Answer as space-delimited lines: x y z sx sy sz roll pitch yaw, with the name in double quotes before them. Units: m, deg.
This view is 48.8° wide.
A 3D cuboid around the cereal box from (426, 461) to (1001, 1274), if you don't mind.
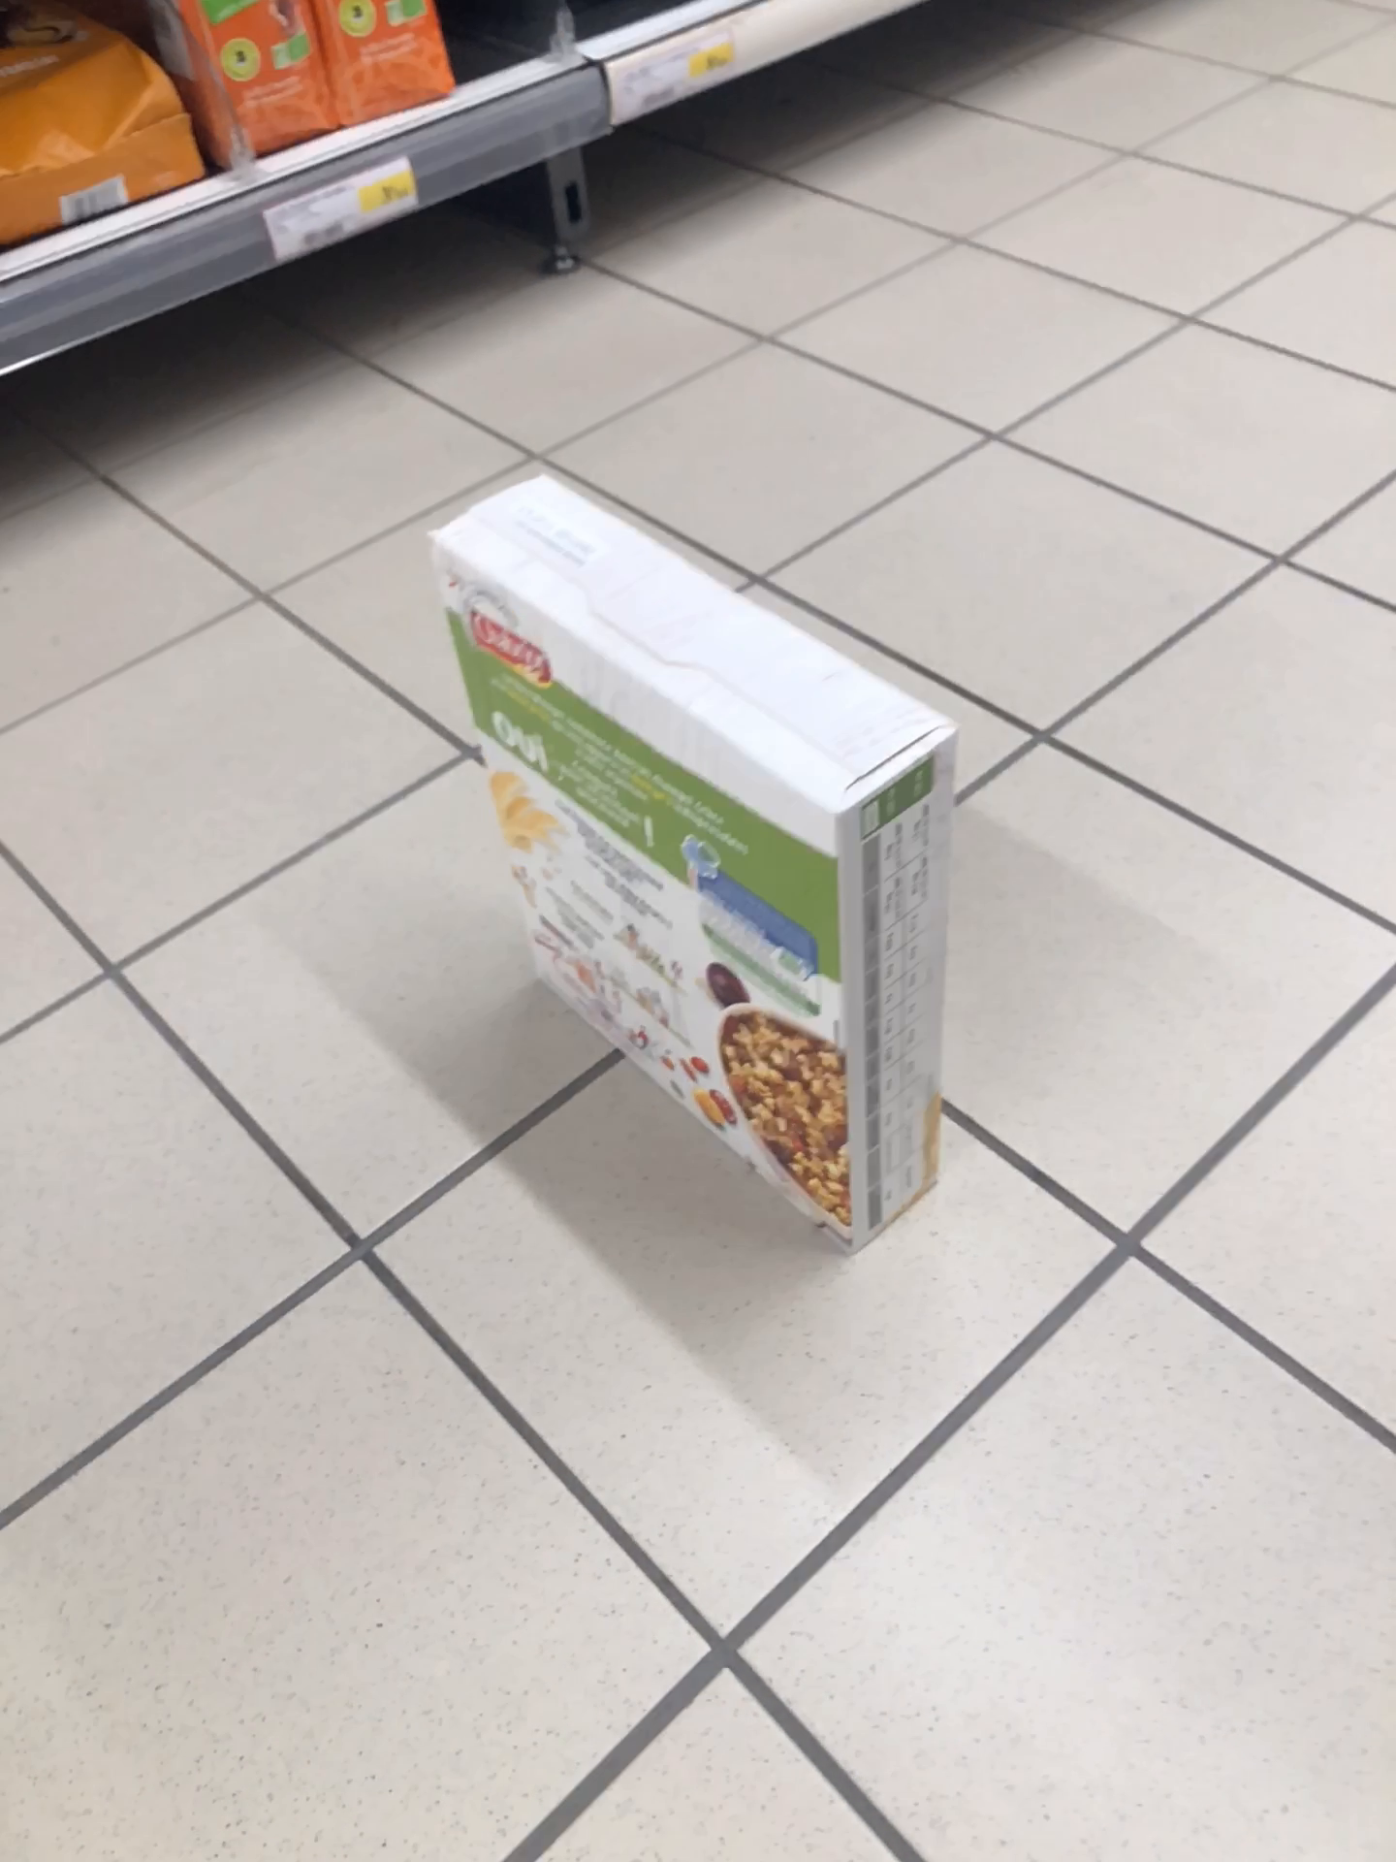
"cereal box" 0.006 -0.018 0.543 0.060 0.229 0.190 -35 53 -25
